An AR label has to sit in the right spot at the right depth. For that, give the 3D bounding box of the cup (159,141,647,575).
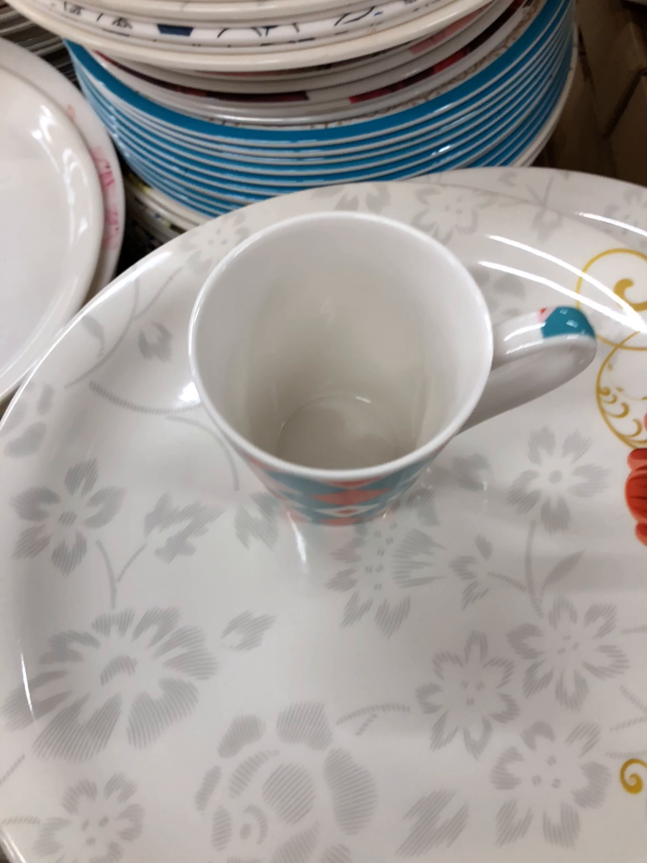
[{"bbox_3d":[0.026,-0.018,0.249,0.130,0.100,0.080,-17,70,-7],"label":"cup"}]
